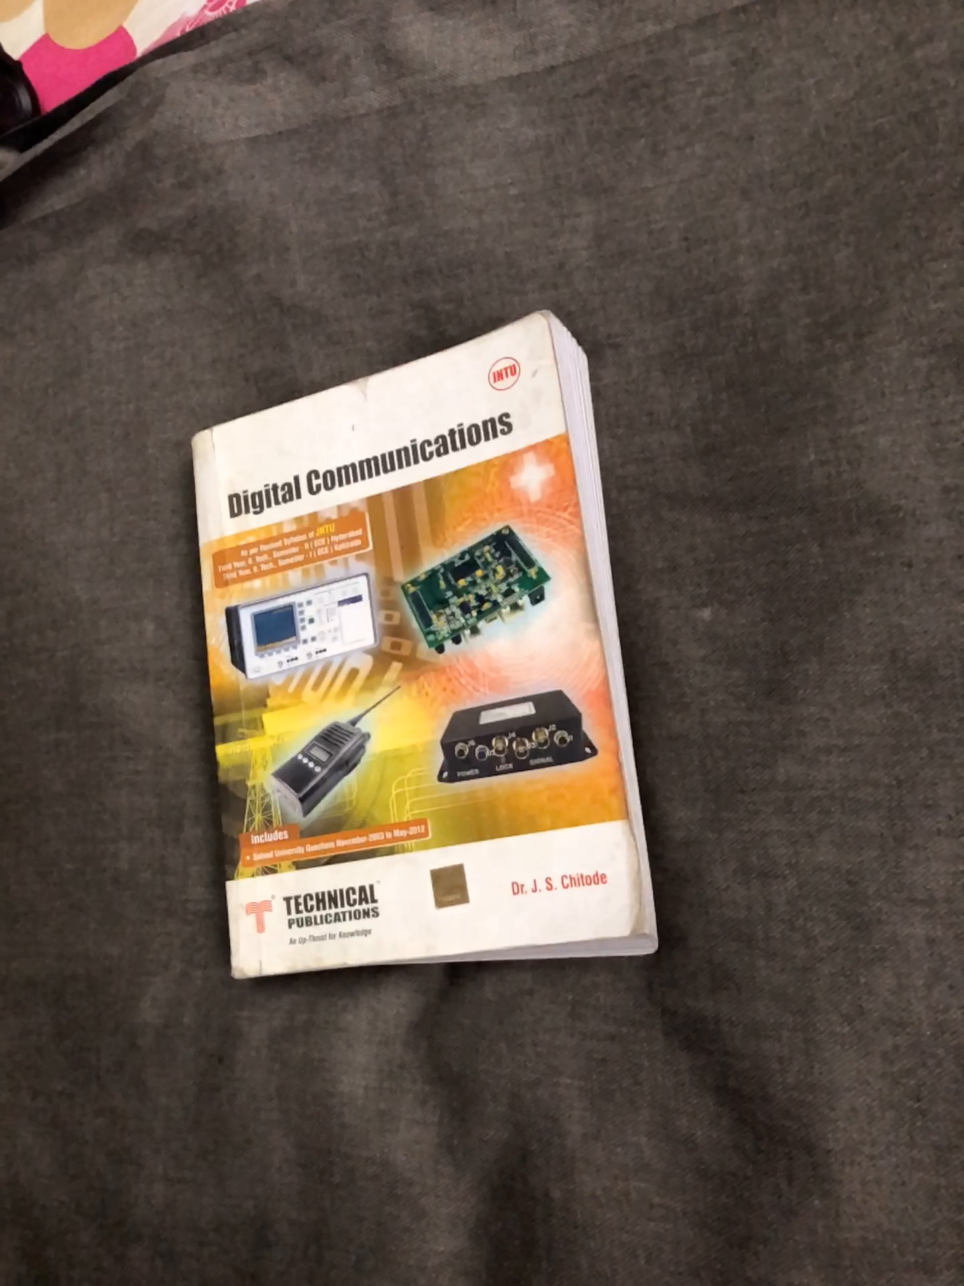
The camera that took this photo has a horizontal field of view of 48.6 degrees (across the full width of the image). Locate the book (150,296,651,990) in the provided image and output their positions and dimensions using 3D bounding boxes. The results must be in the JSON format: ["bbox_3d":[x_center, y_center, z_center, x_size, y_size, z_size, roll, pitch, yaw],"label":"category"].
[{"bbox_3d":[-0.042,0.008,0.436,0.182,0.050,0.241,-12,78,25],"label":"book"}]
